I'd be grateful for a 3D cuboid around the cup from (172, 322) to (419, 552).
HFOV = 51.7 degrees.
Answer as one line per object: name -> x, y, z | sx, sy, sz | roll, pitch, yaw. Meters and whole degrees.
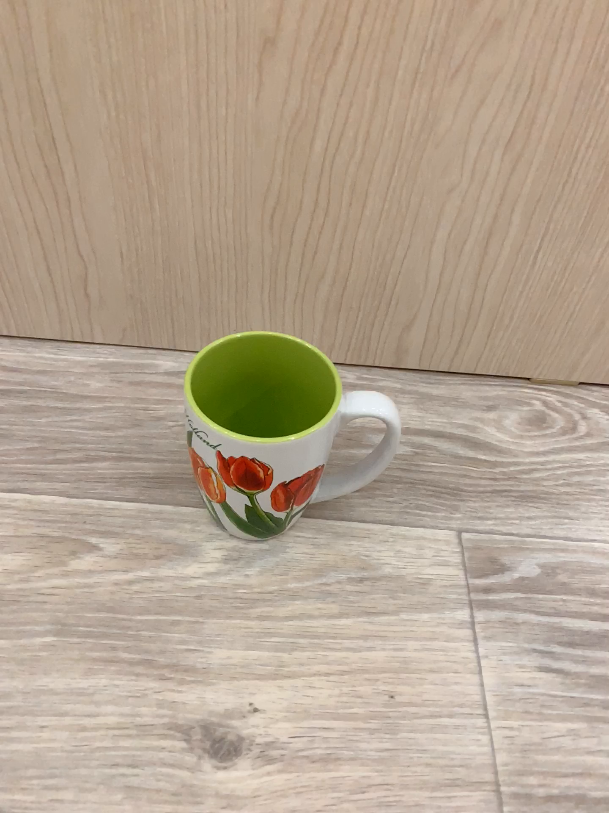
cup -> -0.012, 0.018, 0.364 | 0.118, 0.101, 0.084 | 0, 46, -8
